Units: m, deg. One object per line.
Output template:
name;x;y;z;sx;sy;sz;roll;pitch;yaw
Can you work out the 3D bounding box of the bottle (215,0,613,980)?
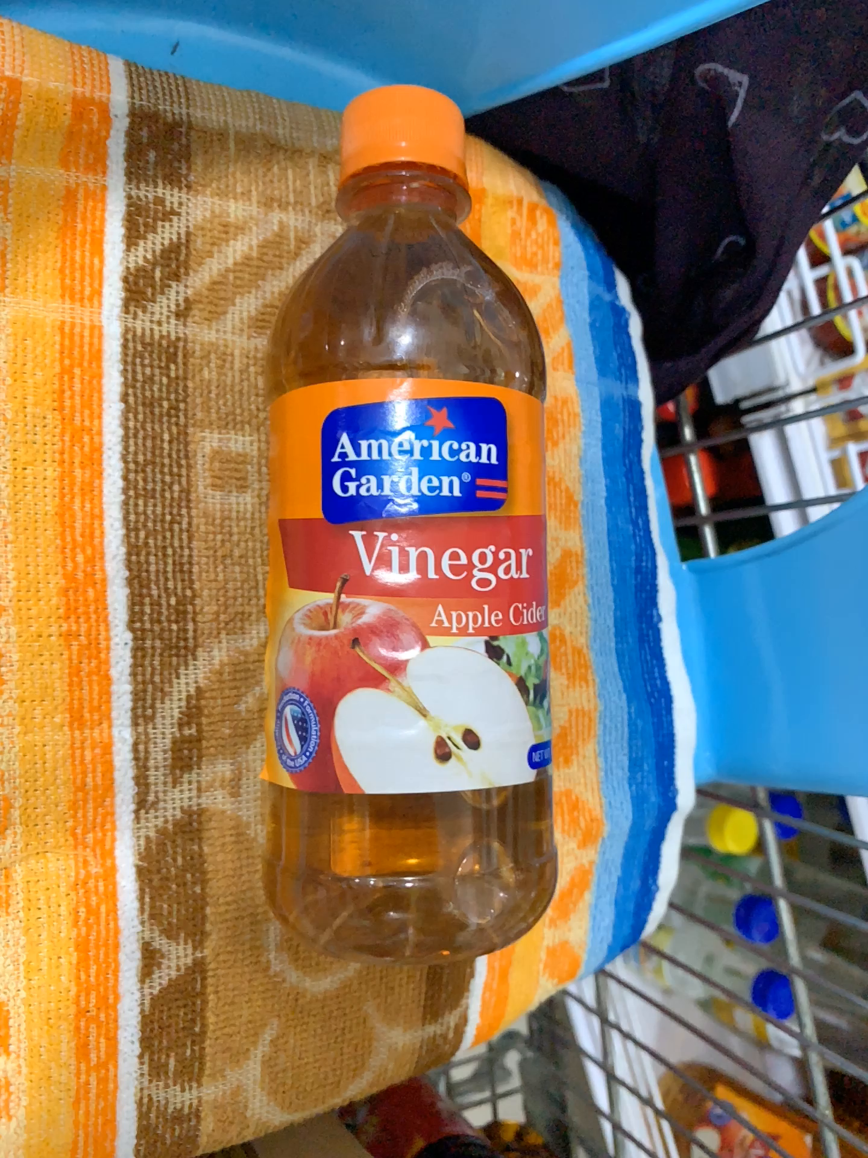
bottle;-0.008;-0.019;0.195;0.070;0.050;0.180;-2;90;-15
